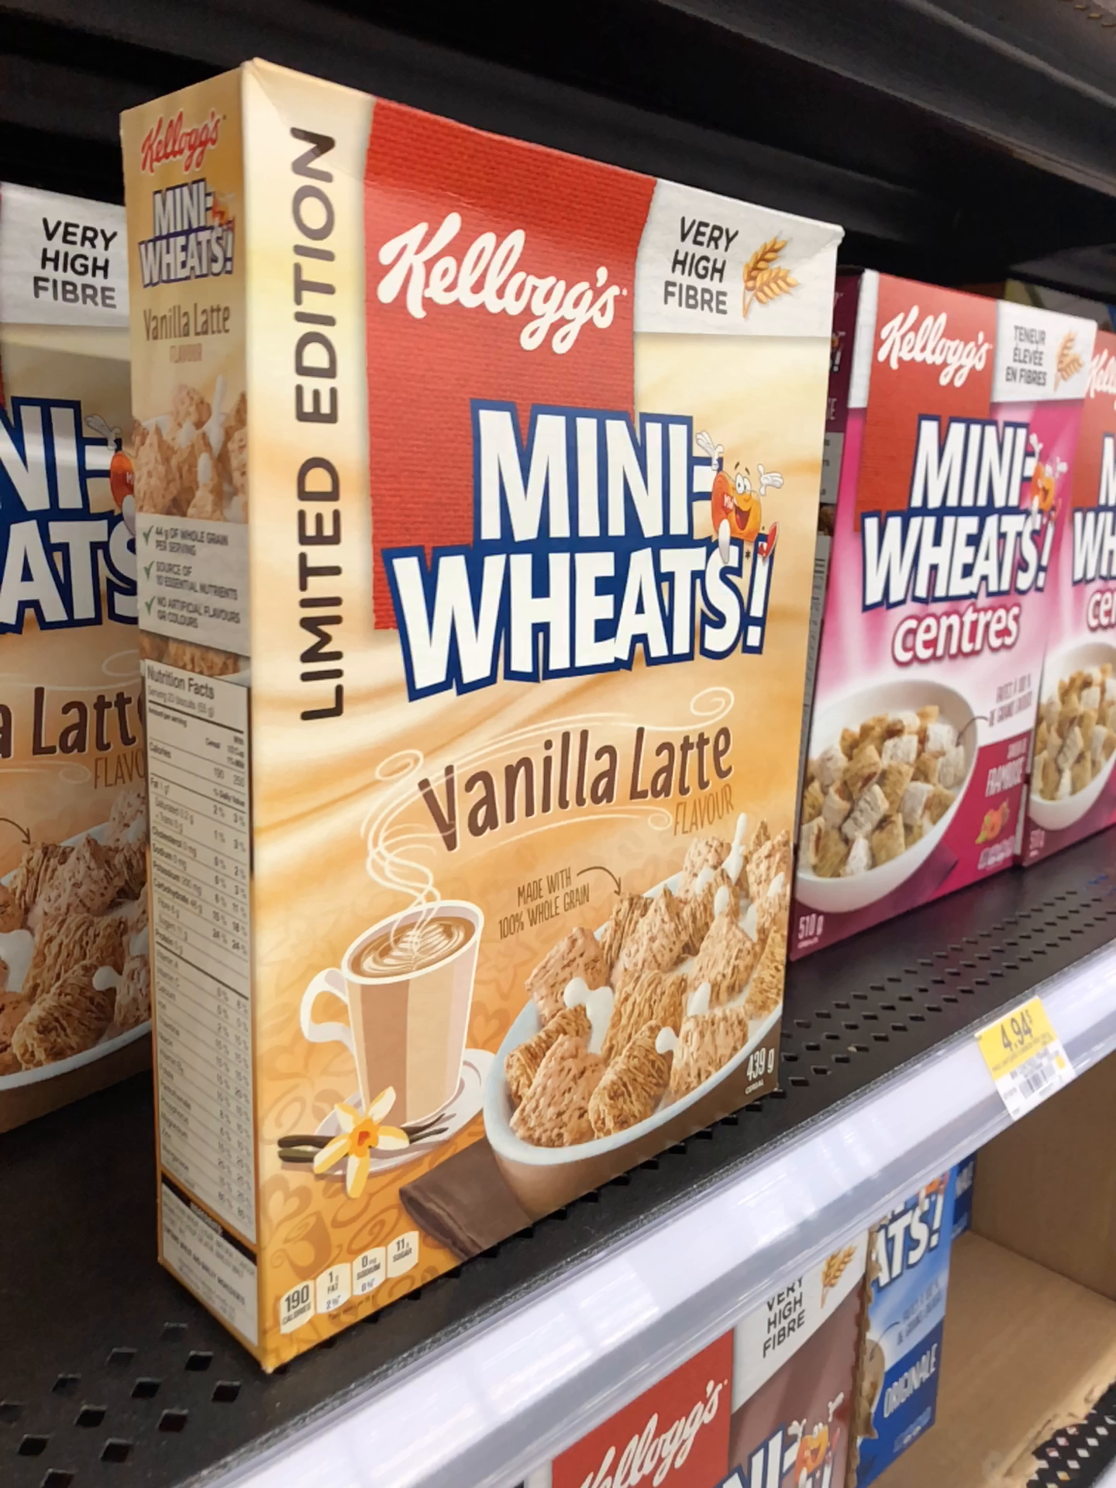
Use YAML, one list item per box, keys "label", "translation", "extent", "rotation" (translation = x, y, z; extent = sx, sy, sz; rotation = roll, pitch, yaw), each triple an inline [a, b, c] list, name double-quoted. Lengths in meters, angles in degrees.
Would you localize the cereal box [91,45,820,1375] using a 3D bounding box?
- label: "cereal box"
  translation: [-0.015, -0.010, 0.342]
  extent: [0.190, 0.279, 0.060]
  rotation: [-10, 16, -43]
